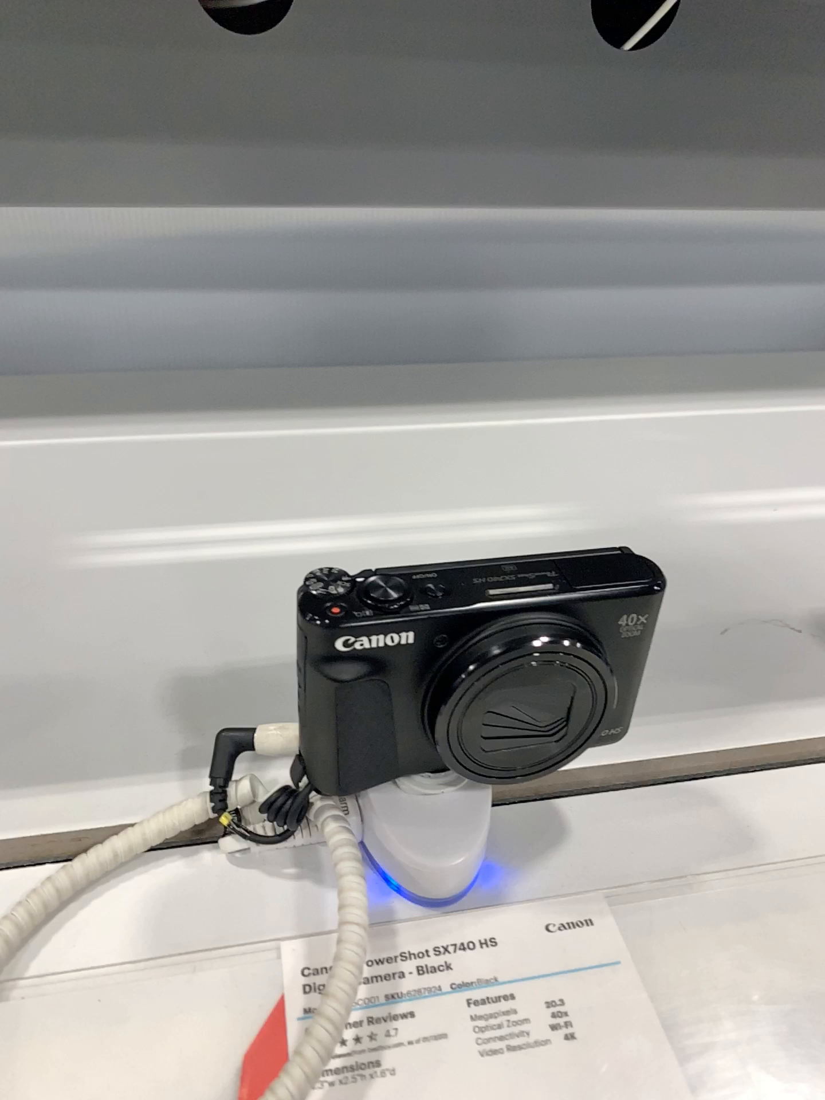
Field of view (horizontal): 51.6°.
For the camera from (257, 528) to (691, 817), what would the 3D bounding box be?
[{"bbox_3d":[0.016,0.036,0.266,0.120,0.063,0.042,-5,33,-14],"label":"camera"}]
